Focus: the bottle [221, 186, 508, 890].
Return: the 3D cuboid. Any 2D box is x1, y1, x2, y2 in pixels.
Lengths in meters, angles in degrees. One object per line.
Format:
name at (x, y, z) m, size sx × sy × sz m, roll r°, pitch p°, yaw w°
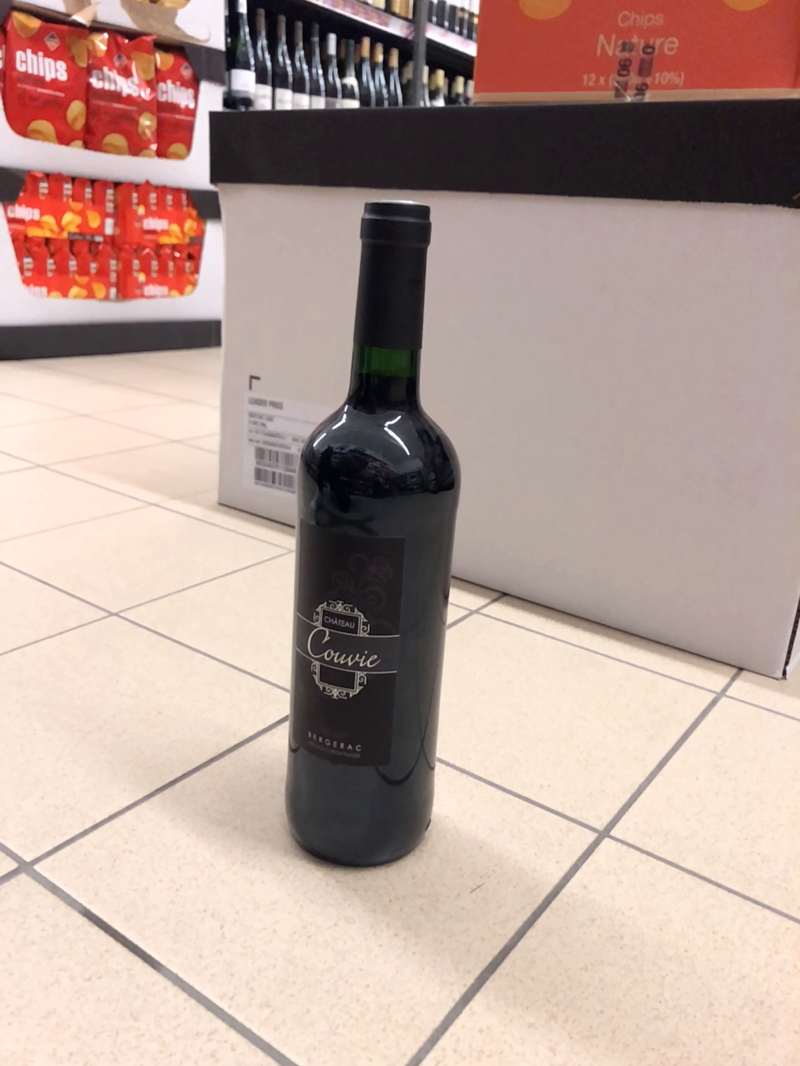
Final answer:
bottle at (-0.019, 0.002, 0.403) m, size 0.090 × 0.289 × 0.090 m, roll 4°, pitch 17°, yaw -1°
